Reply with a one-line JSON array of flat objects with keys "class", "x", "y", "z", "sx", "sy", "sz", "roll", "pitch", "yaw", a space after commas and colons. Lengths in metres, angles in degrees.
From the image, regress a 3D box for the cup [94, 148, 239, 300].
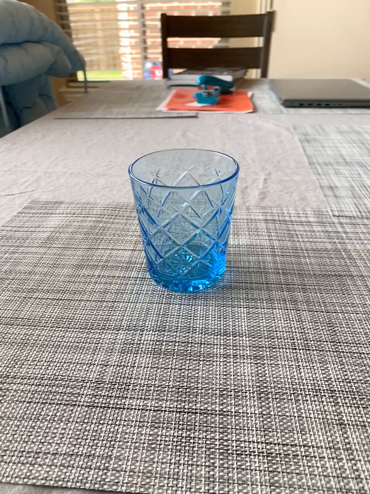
[{"class": "cup", "x": -0.007, "y": -0.022, "z": 0.303, "sx": 0.093, "sy": 0.085, "sz": 0.088, "roll": -1, "pitch": 30, "yaw": 0}]
